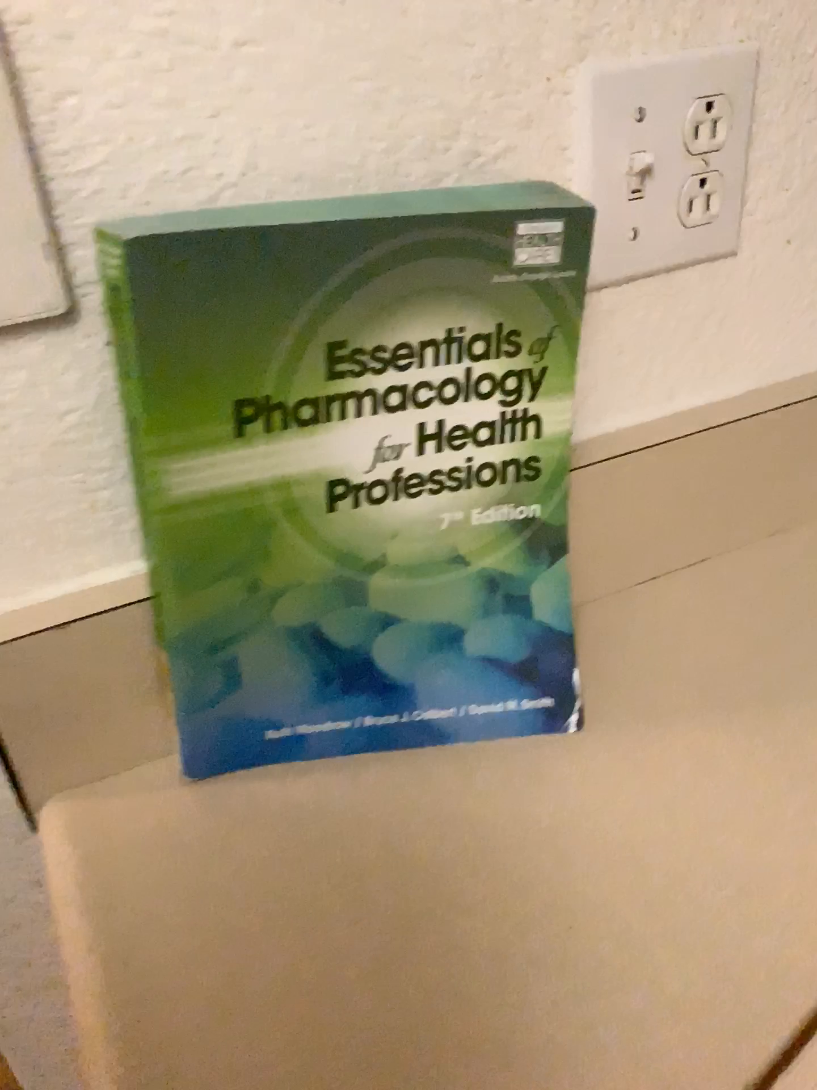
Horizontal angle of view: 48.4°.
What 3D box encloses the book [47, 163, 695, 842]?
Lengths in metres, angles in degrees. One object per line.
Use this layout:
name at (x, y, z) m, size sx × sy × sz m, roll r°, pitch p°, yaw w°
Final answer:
book at (-0.013, -0.020, 0.430) m, size 0.240 × 0.270 × 0.090 m, roll -12°, pitch 33°, yaw -16°
